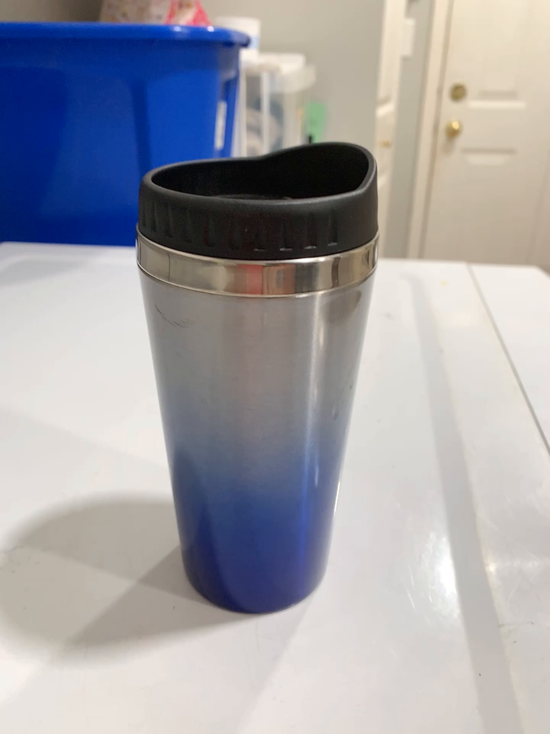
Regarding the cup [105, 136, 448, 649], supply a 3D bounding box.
[{"bbox_3d":[-0.005,0.007,0.230,0.089,0.171,0.080,-11,30,-19],"label":"cup"}]
